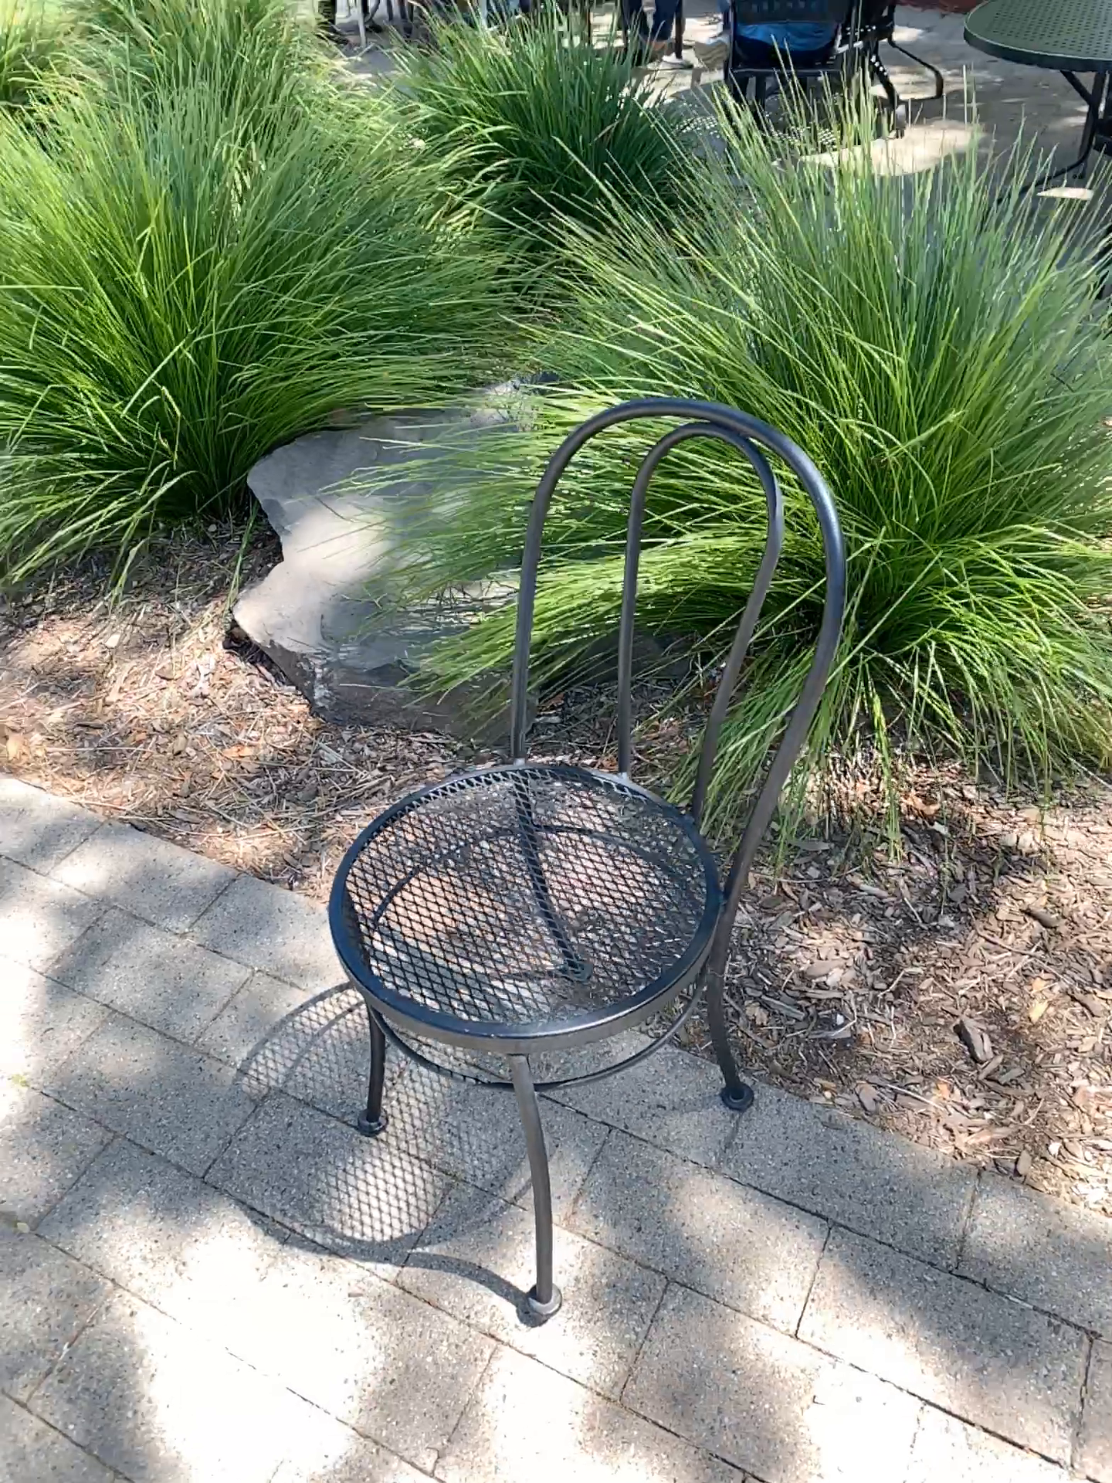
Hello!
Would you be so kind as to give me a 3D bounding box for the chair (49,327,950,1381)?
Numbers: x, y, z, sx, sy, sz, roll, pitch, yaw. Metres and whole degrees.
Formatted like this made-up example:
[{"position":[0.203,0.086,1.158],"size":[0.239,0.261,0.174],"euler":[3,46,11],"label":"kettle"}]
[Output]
[{"position":[-0.024,0.107,1.167],"size":[0.473,0.788,0.538],"euler":[31,51,33],"label":"chair"}]
